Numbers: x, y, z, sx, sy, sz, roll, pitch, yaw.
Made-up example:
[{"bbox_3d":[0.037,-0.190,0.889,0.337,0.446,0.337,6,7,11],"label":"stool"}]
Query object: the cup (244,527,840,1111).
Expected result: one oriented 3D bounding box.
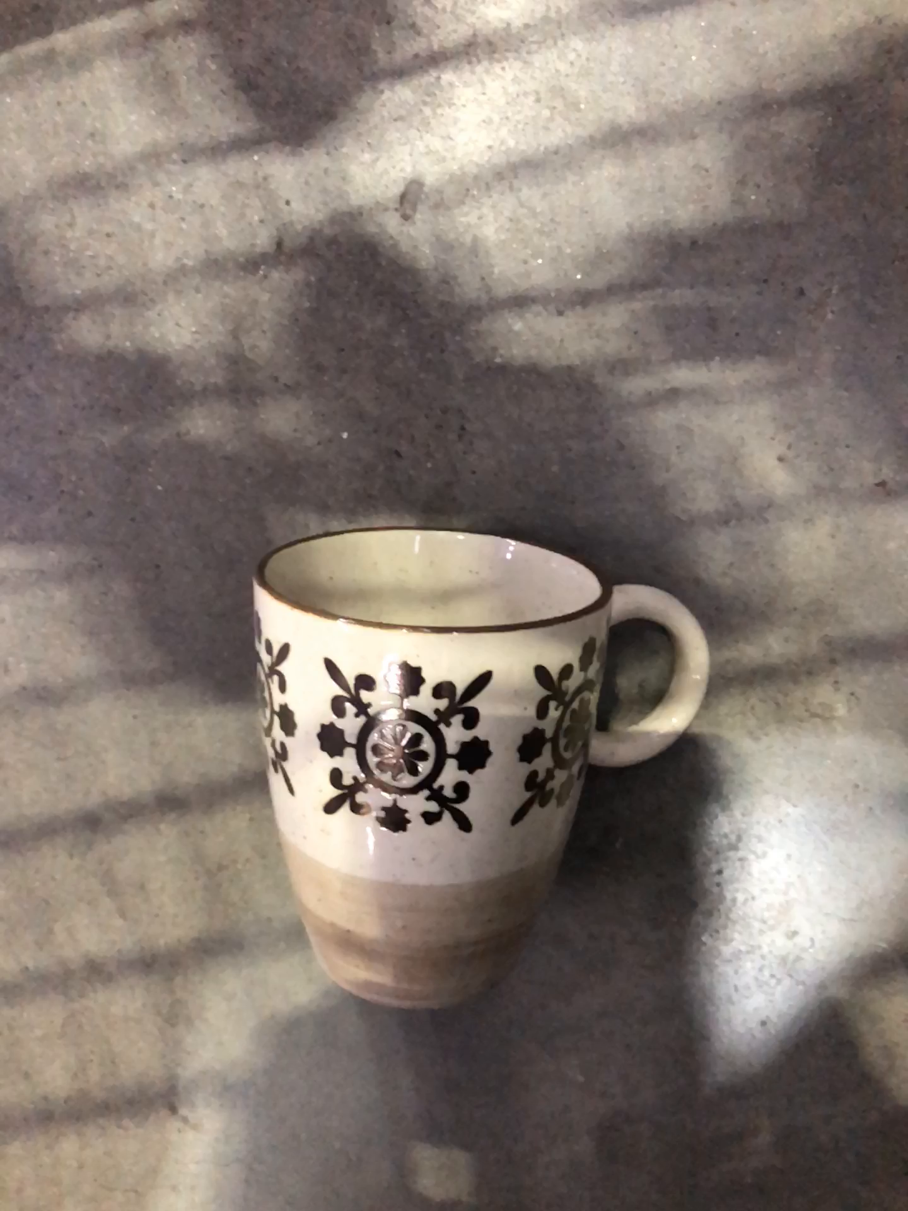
[{"bbox_3d":[0.010,0.036,0.215,0.100,0.070,0.090,-2,108,-16],"label":"cup"}]
